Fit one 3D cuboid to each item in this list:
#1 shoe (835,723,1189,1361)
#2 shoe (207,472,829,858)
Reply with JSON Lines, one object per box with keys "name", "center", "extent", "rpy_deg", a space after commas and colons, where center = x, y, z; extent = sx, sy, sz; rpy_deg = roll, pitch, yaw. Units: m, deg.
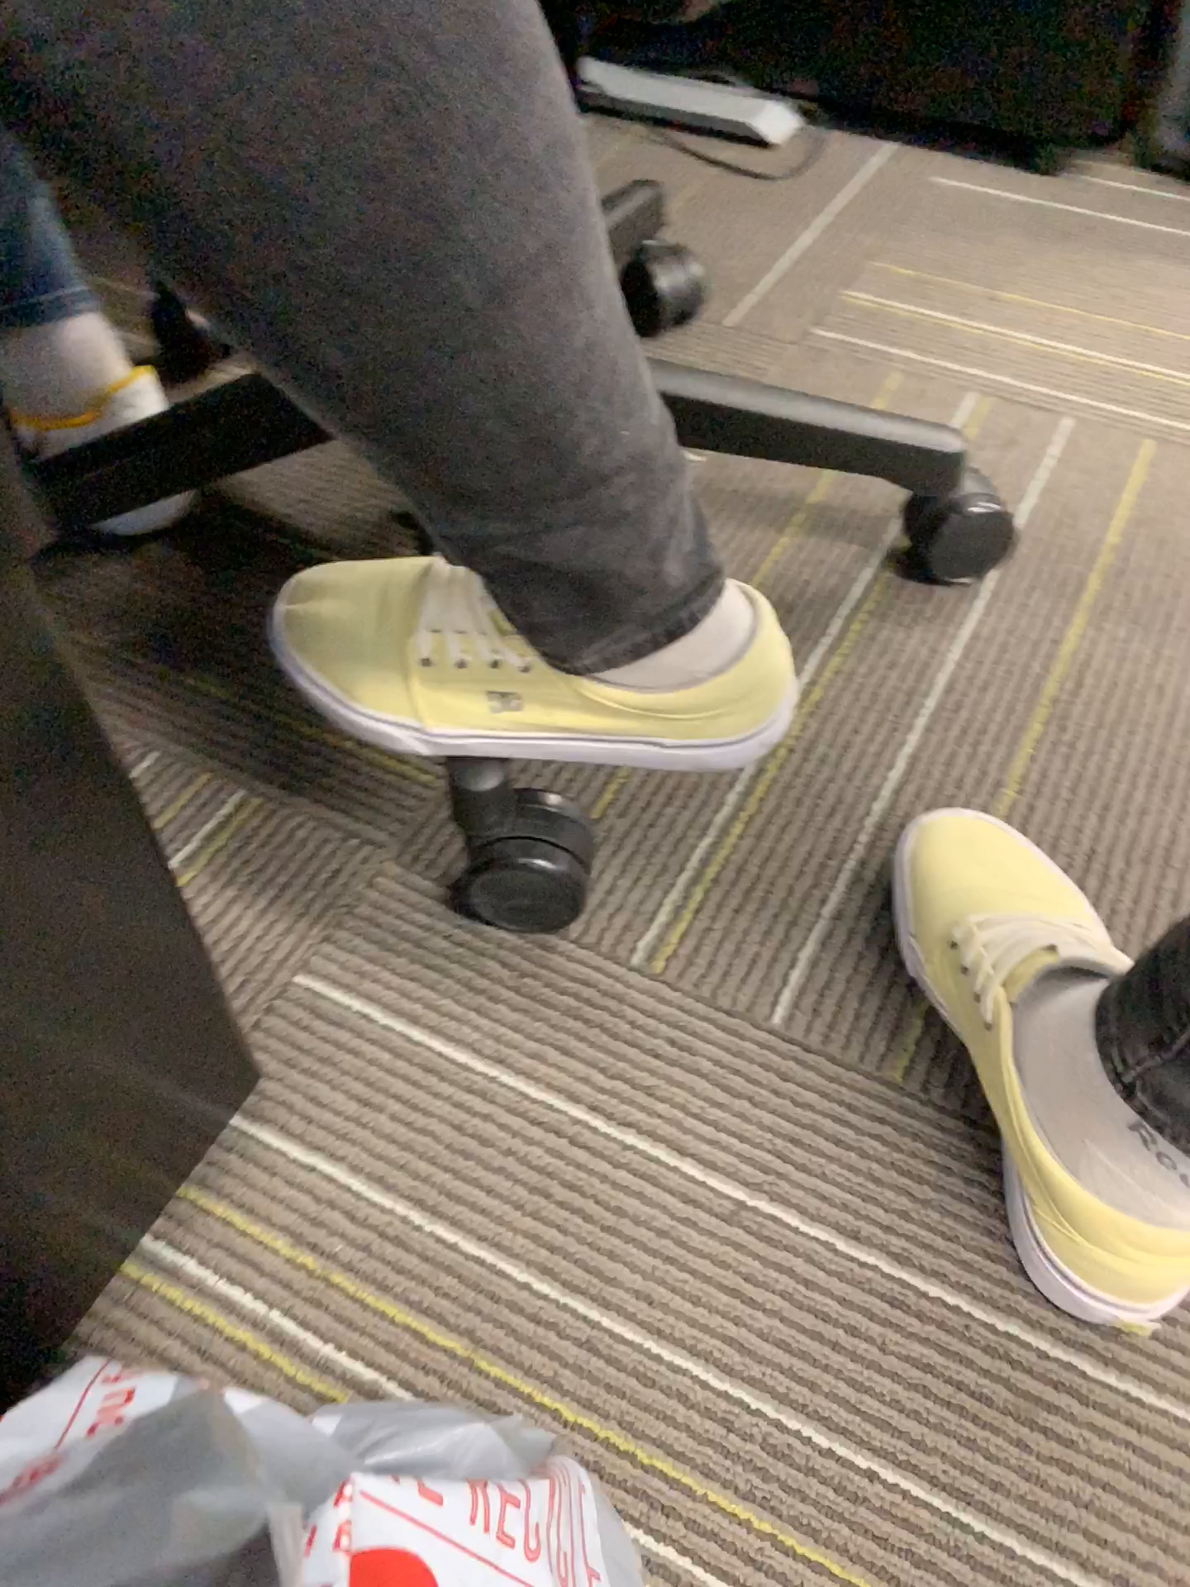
{"name": "shoe", "center": [0.199, 0.102, 0.571], "extent": [0.102, 0.101, 0.270], "rpy_deg": [-4, 49, -3]}
{"name": "shoe", "center": [-0.032, -0.064, 0.582], "extent": [0.260, 0.096, 0.099], "rpy_deg": [12, 50, 10]}
